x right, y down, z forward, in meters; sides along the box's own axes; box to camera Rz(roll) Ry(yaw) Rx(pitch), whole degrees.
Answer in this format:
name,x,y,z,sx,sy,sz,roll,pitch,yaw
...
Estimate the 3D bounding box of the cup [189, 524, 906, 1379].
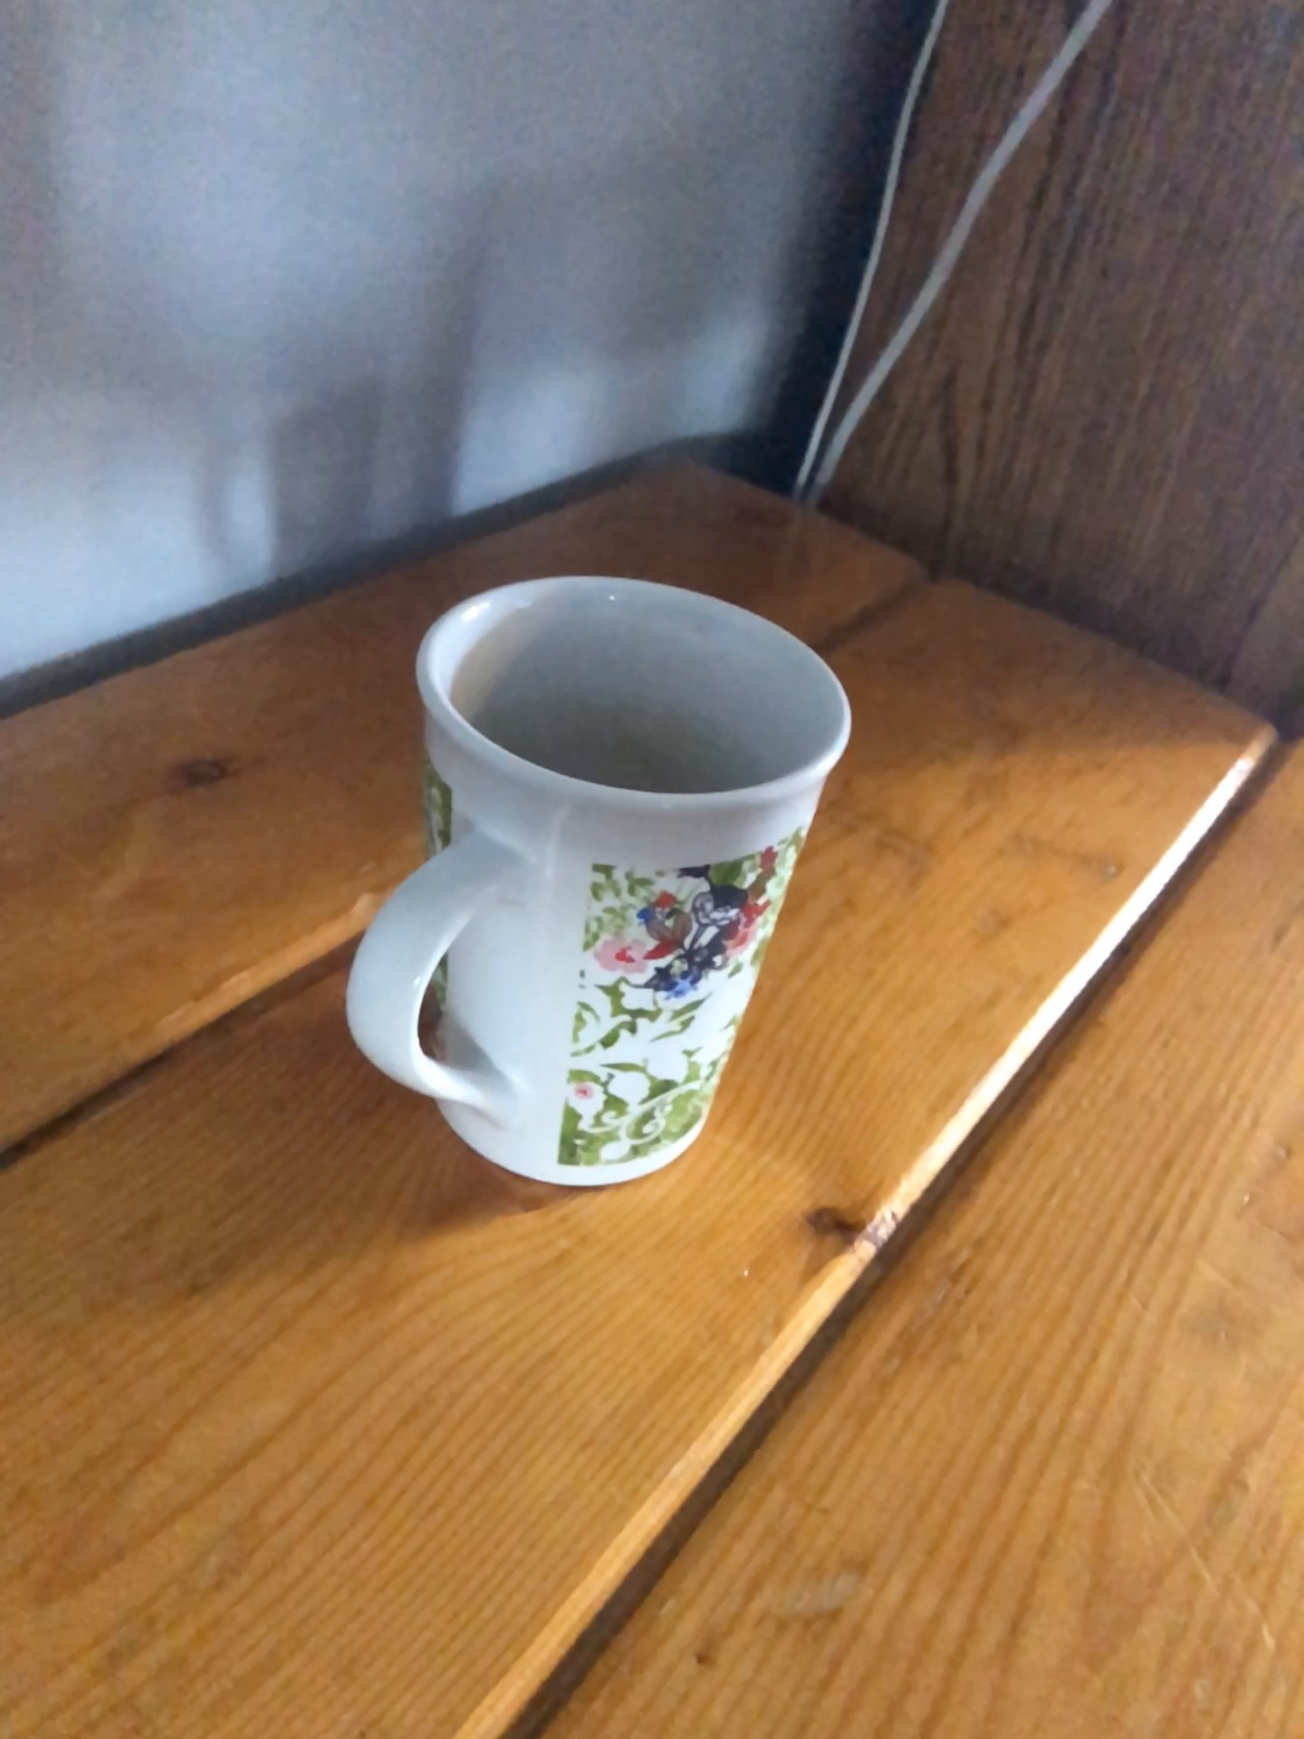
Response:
name,x,y,z,sx,sy,sz,roll,pitch,yaw
cup,-0.024,0.011,0.331,0.090,0.120,0.130,27,39,17
